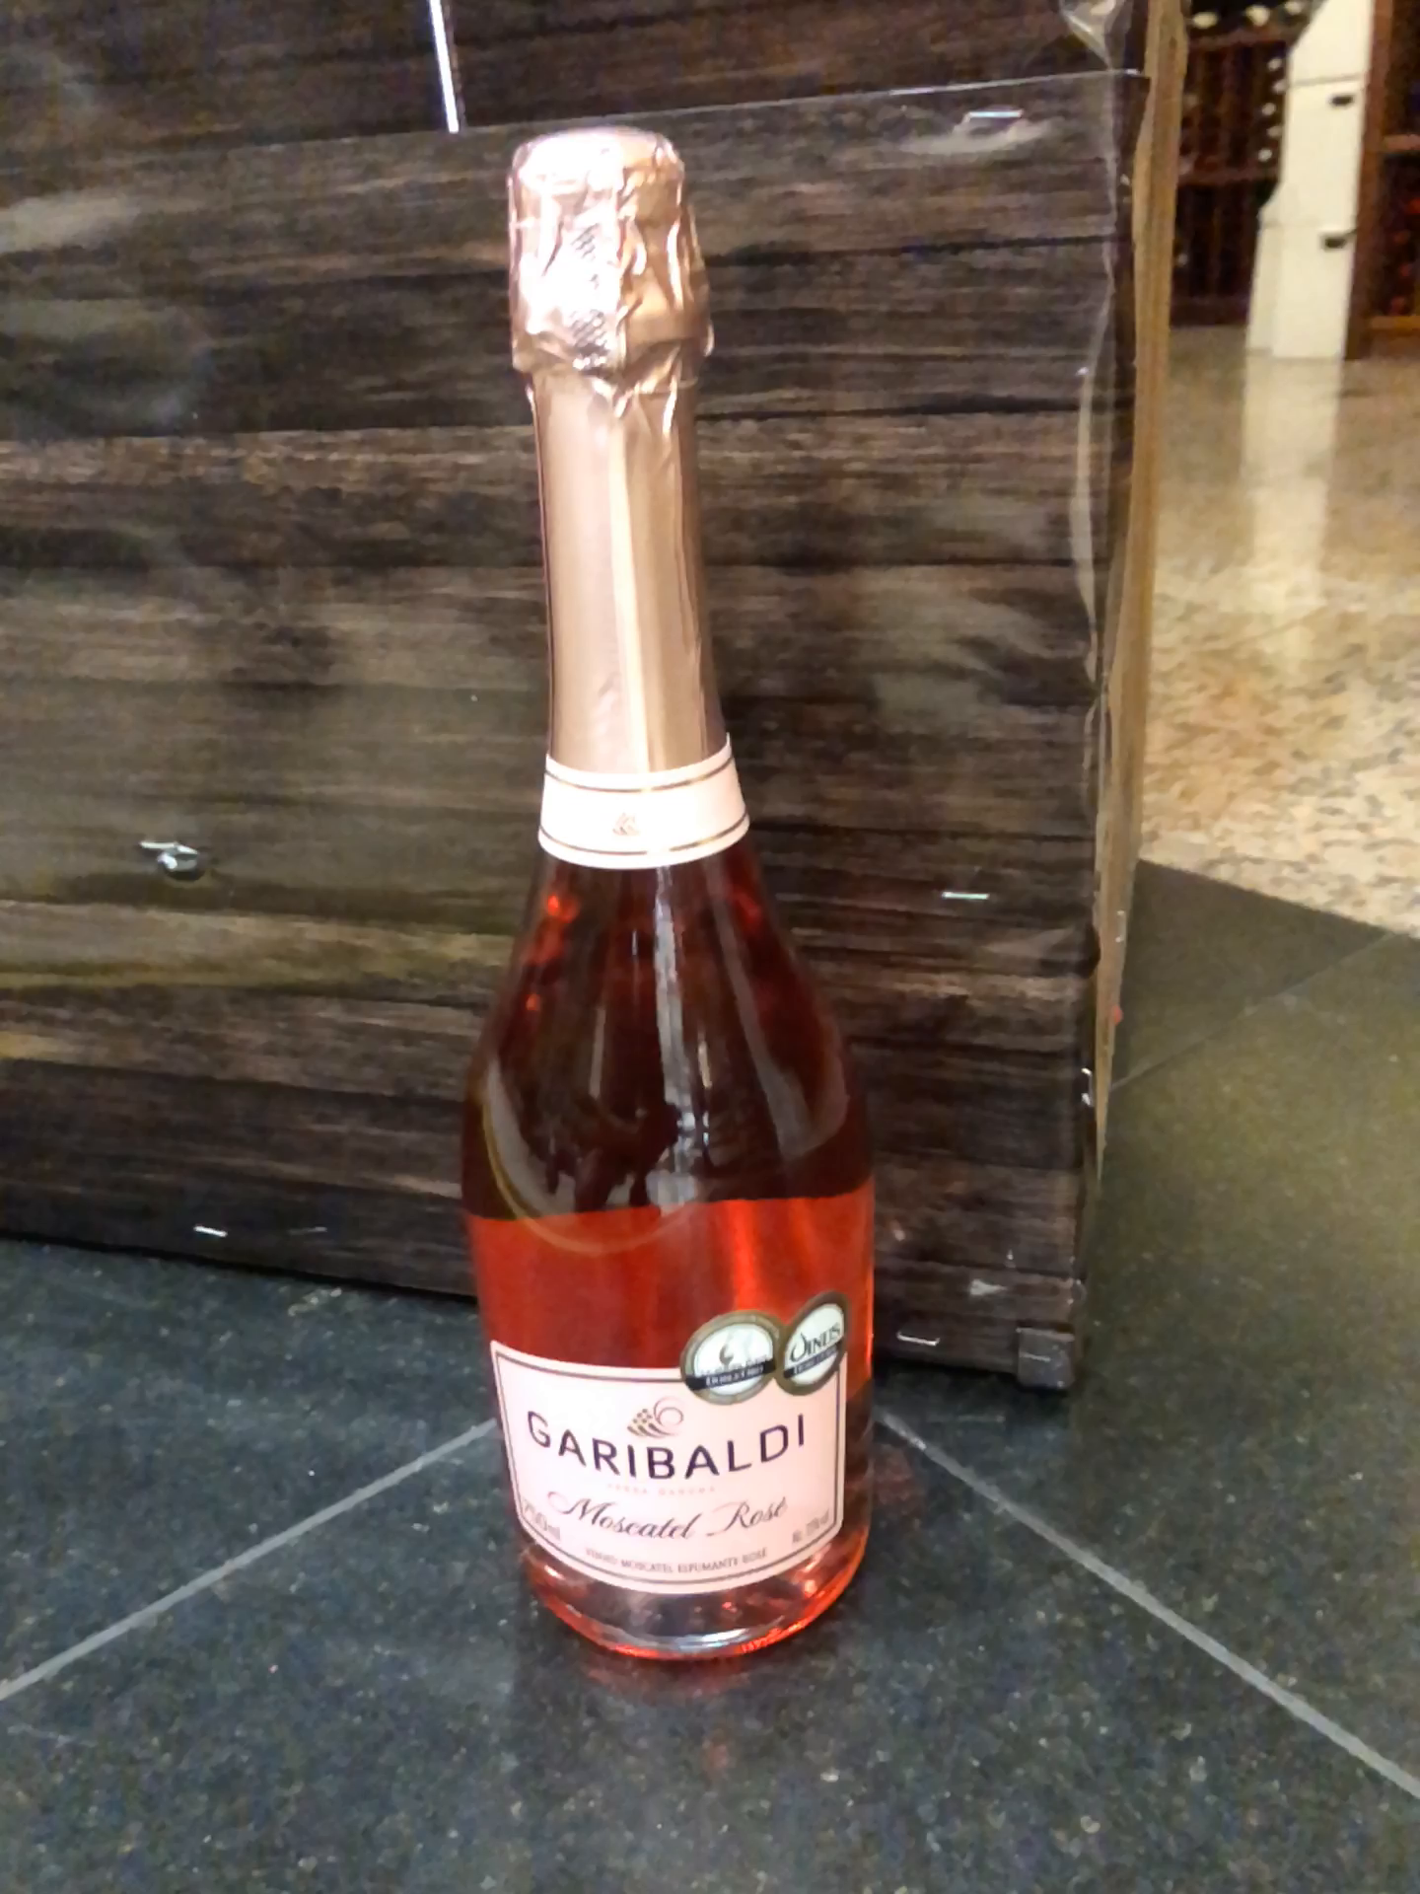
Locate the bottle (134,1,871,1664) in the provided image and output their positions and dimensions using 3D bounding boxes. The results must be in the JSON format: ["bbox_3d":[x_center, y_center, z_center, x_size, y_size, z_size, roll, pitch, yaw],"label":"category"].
[{"bbox_3d":[-0.023,-0.008,0.356,0.110,0.338,0.101,-3,23,1],"label":"bottle"}]
